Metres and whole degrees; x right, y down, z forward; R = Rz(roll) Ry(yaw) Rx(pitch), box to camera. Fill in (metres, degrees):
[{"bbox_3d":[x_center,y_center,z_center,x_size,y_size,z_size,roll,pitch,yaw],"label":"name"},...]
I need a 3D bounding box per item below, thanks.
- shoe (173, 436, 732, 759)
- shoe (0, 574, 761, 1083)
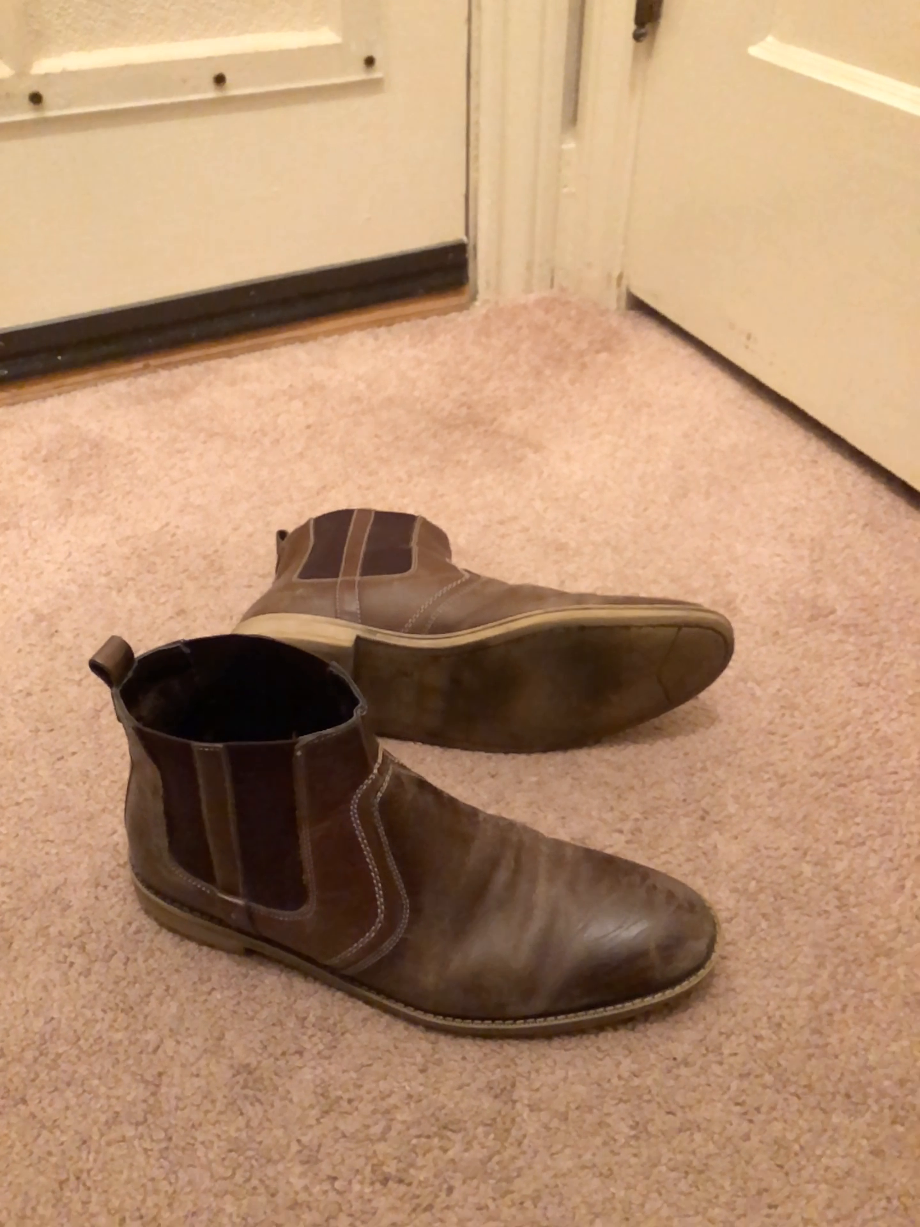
[{"bbox_3d":[-0.003,-0.016,0.676,0.313,0.114,0.187,1,43,1],"label":"shoe"},{"bbox_3d":[-0.031,0.103,0.494,0.308,0.175,0.116,7,41,8],"label":"shoe"}]
